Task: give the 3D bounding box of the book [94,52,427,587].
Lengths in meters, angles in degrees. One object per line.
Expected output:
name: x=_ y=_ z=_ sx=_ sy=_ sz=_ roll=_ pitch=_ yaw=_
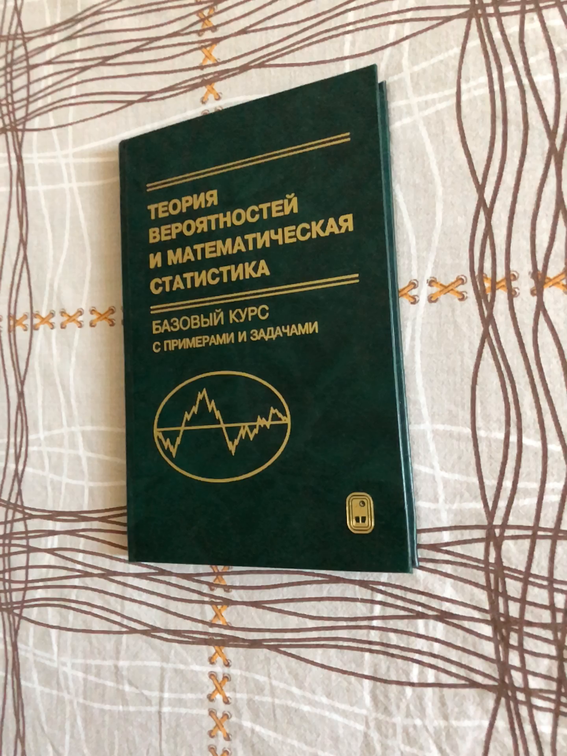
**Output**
book: x=-0.018 y=-0.021 z=0.294 sx=0.150 sy=0.030 sz=0.217 roll=-5 pitch=84 yaw=25
